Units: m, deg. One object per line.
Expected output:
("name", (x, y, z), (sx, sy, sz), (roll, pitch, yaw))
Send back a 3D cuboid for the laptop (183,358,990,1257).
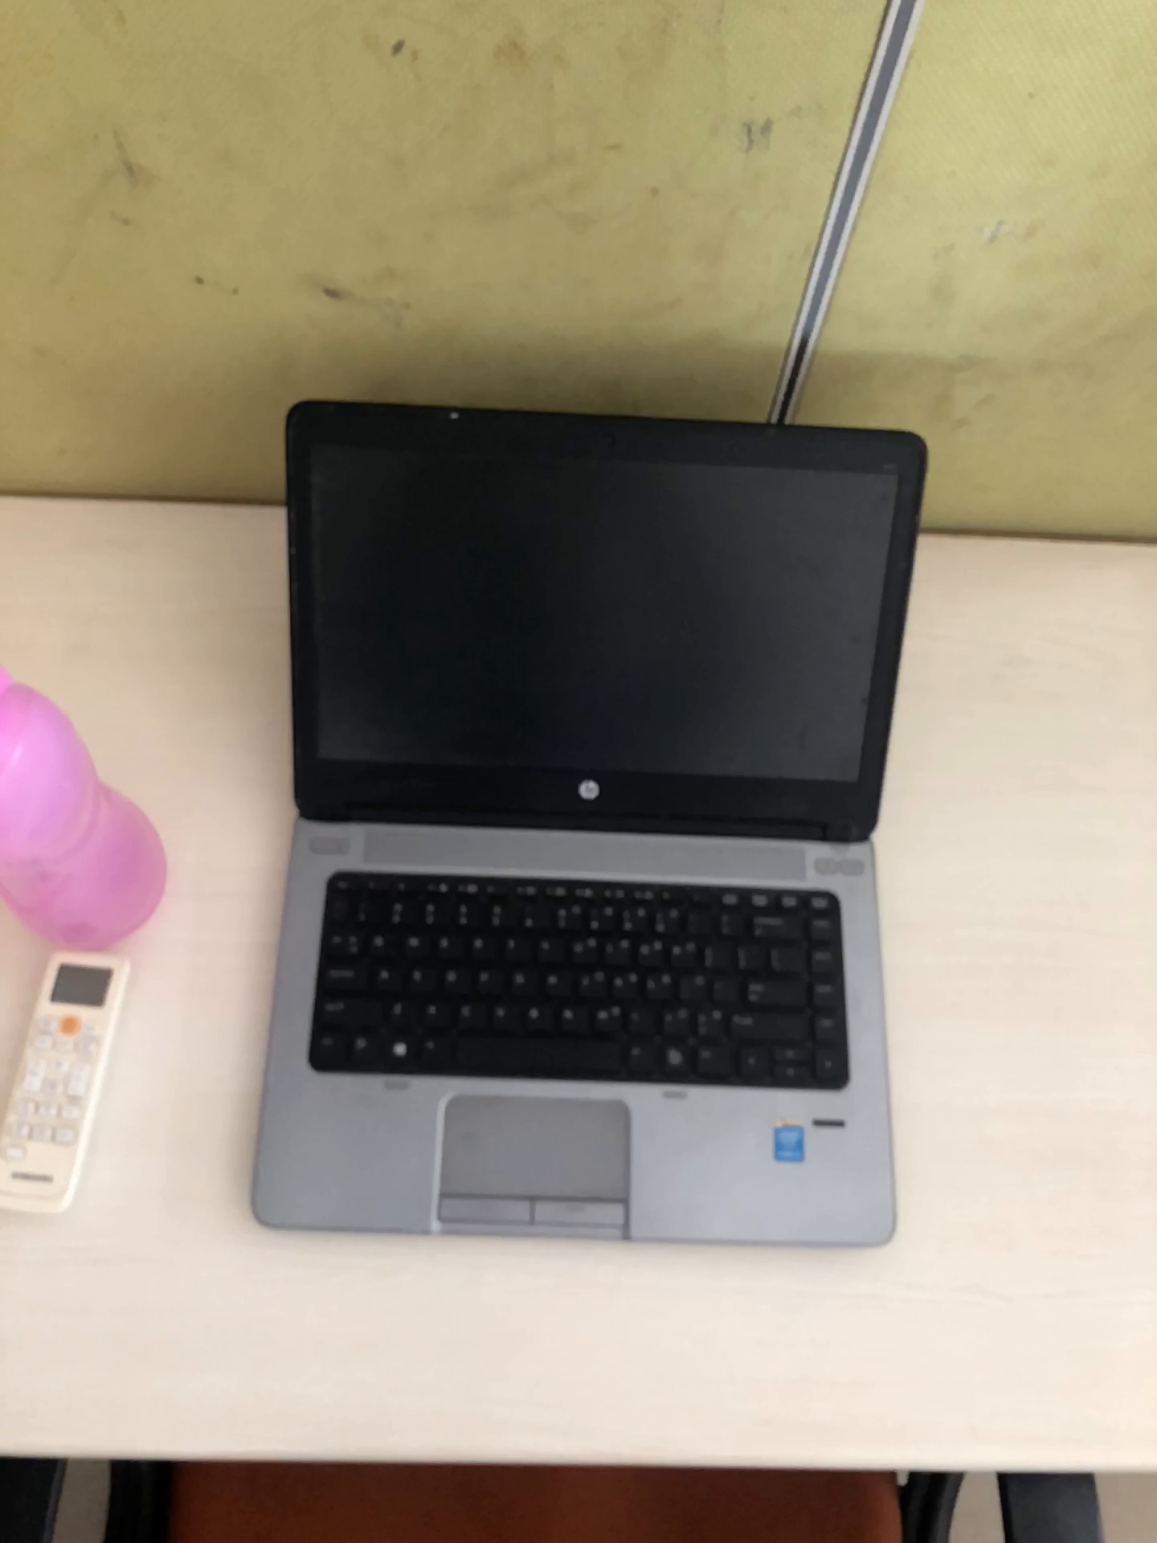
("laptop", (0.007, 0.021, 0.652), (0.326, 0.148, 0.407), (2, 71, -1))
